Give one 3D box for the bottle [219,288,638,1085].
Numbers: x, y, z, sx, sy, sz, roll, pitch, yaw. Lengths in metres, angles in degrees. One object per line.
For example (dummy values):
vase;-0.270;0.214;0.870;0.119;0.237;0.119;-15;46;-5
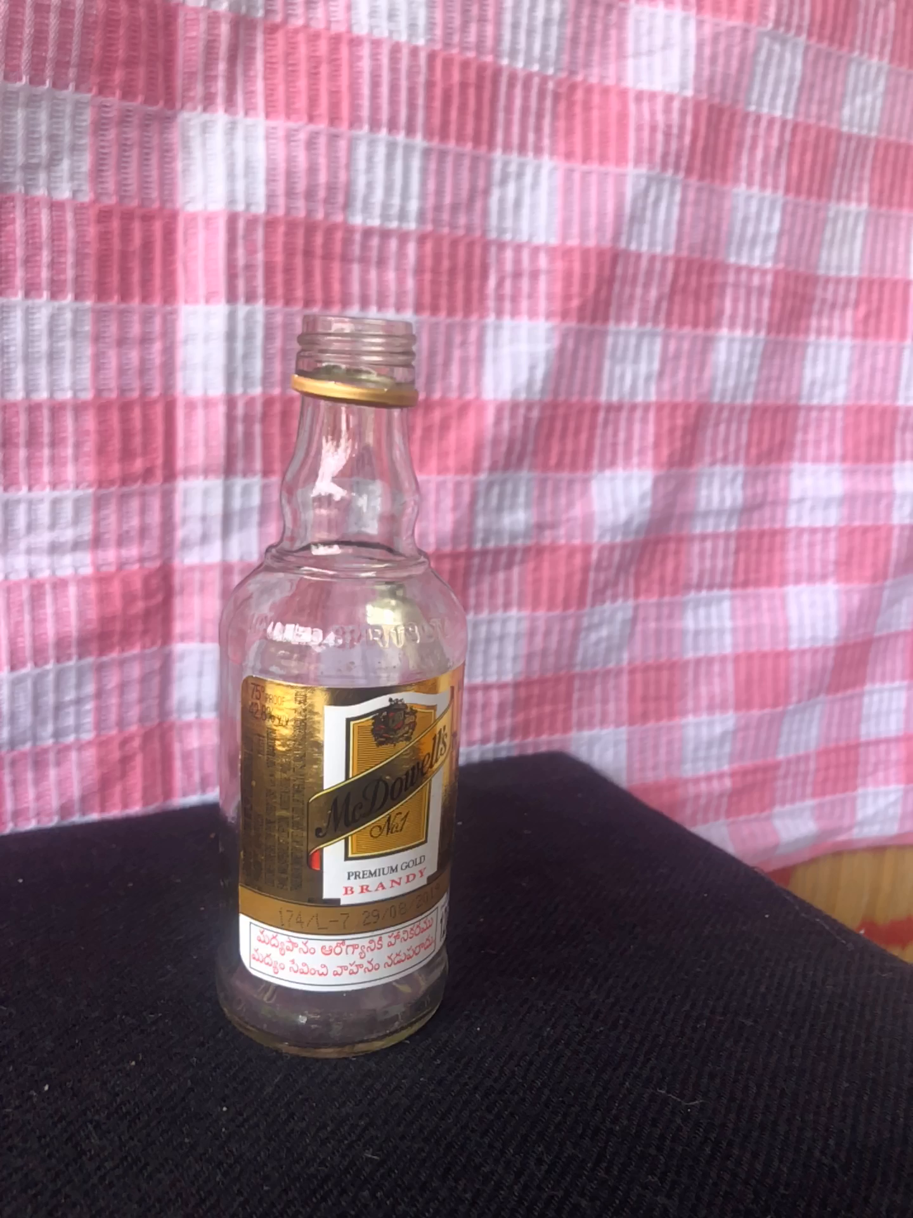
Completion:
bottle;-0.011;0.013;0.217;0.060;0.150;0.050;-1;16;-26
